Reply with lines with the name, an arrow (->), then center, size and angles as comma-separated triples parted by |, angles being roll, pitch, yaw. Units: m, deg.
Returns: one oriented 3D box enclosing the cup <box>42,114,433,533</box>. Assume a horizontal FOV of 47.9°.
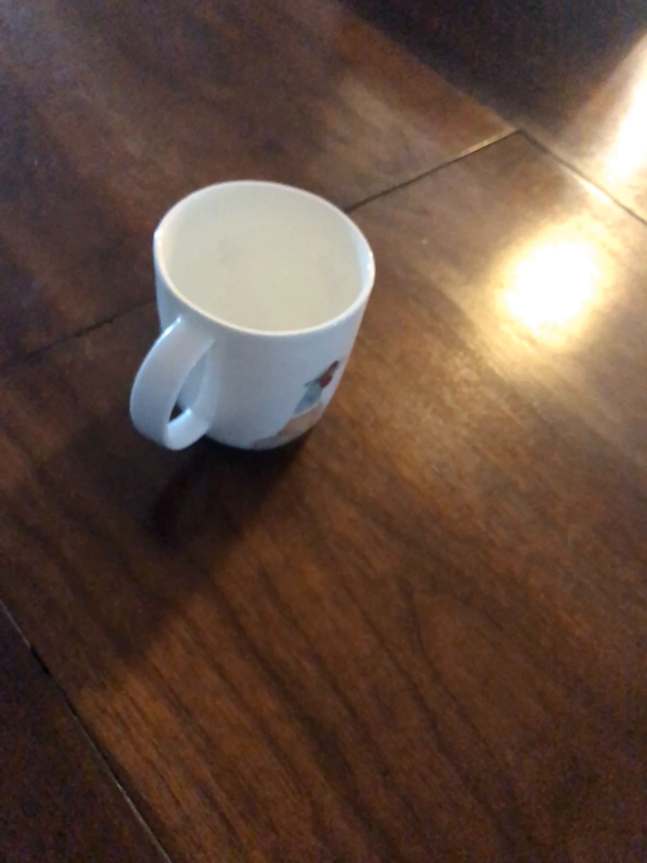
cup -> -0.031, -0.048, 0.311 | 0.090, 0.090, 0.130 | 29, 56, 10
